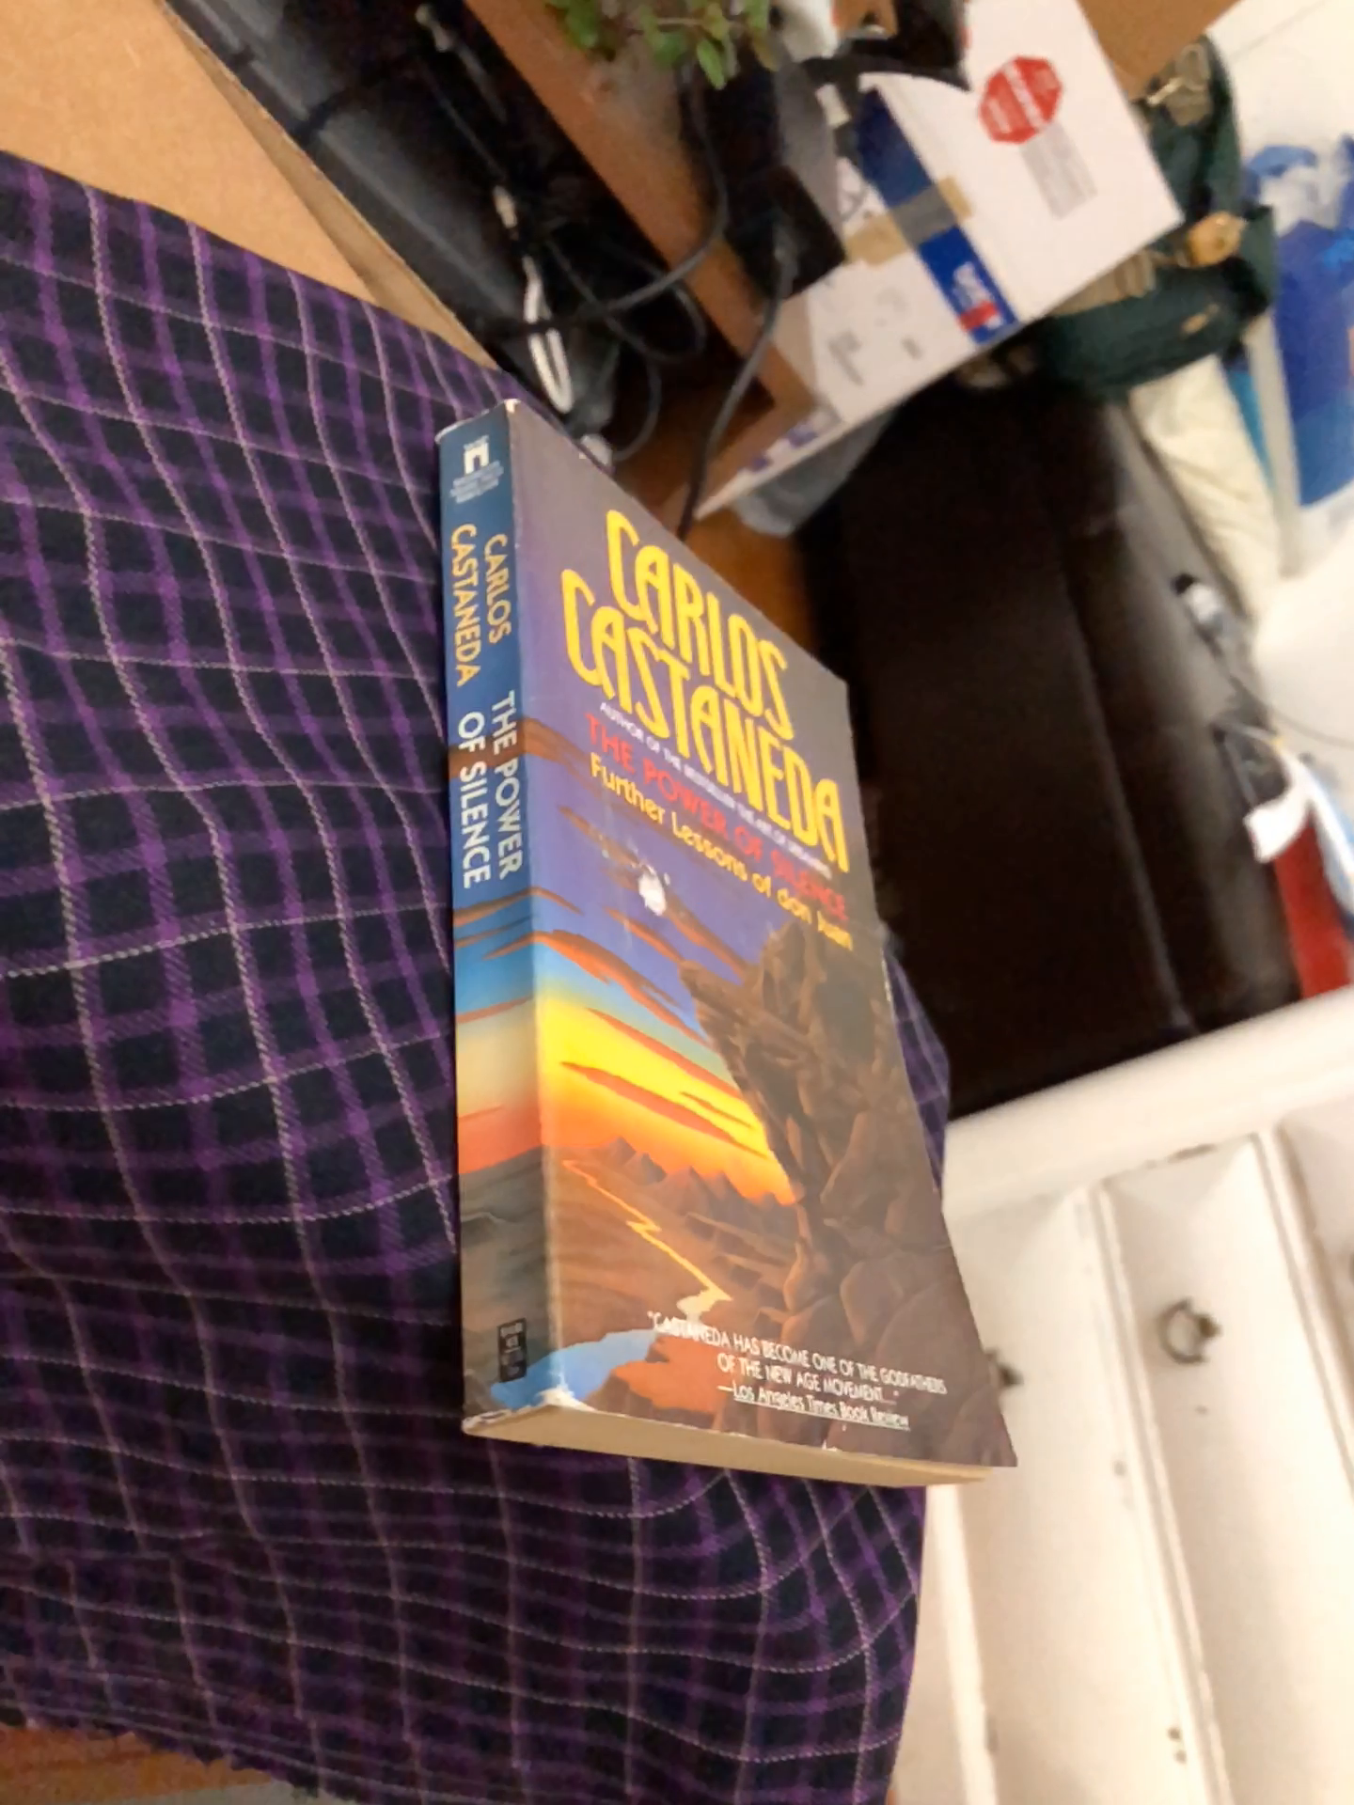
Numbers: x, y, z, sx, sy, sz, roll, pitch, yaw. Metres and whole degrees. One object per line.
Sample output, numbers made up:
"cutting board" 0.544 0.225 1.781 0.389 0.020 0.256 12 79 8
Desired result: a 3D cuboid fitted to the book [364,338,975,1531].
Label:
"book" 0.000 0.008 0.318 0.151 0.020 0.220 31 44 -46
